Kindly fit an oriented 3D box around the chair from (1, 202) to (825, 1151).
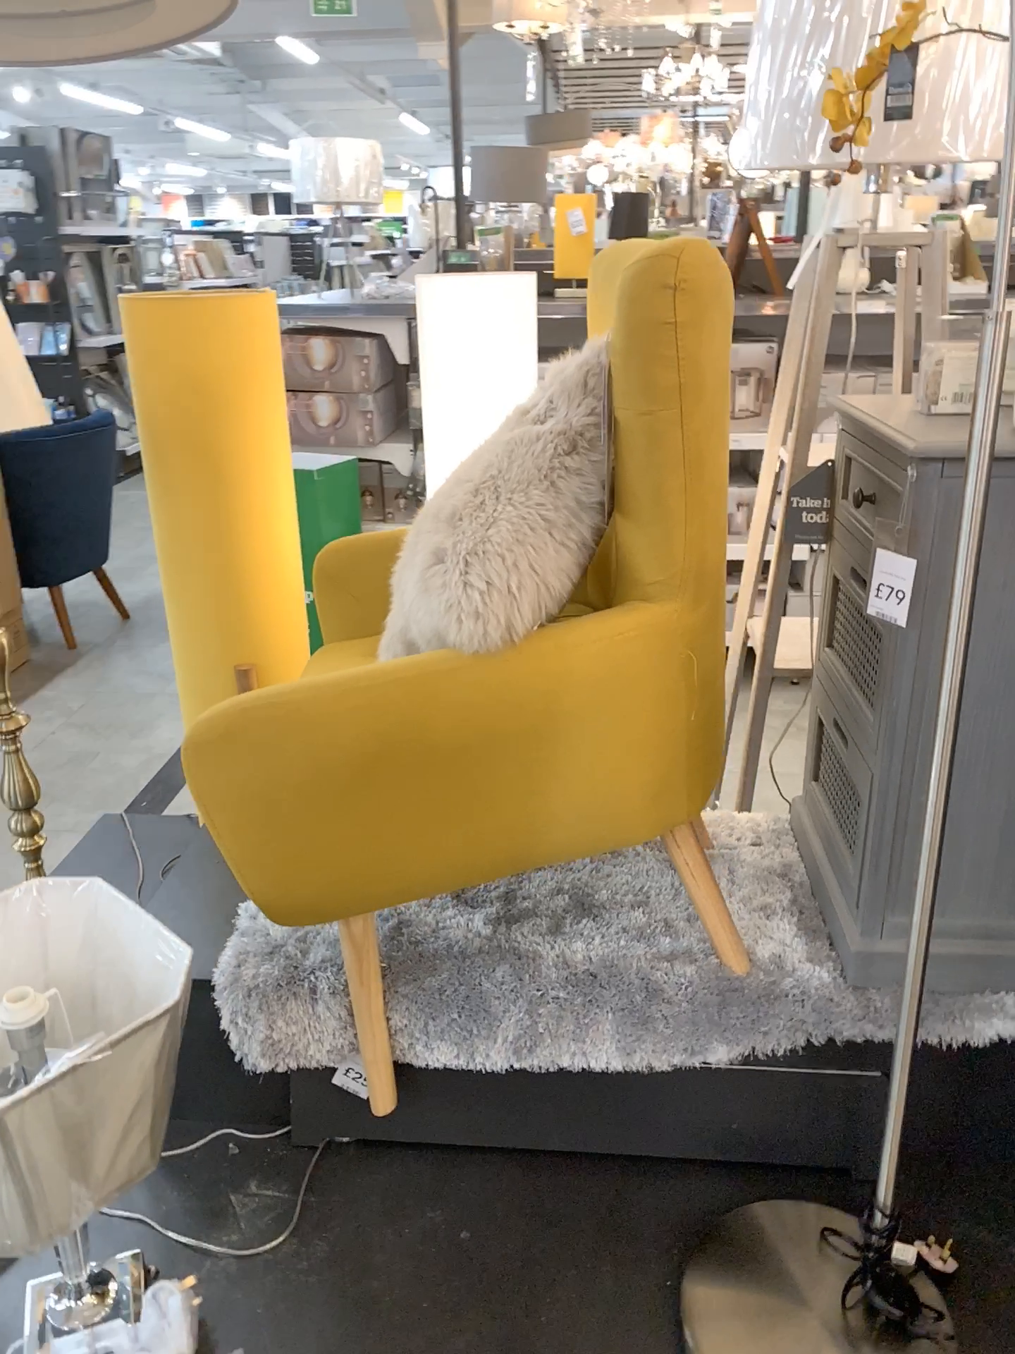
[{"bbox_3d":[-0.032,-0.012,1.405,0.710,1.022,0.595,-8,21,7],"label":"chair"}]
